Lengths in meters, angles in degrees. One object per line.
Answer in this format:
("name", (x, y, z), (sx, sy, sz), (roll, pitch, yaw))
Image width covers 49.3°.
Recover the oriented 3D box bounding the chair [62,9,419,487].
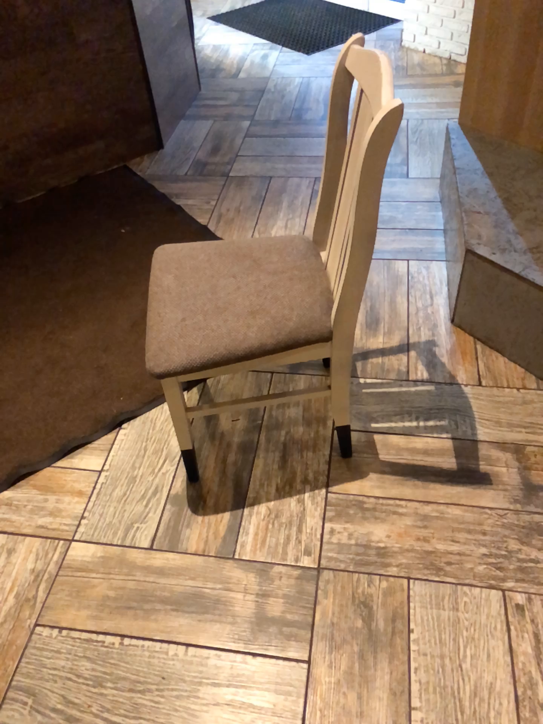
("chair", (-0.043, -0.203, 1.350), (0.519, 0.916, 0.481), (-5, 45, -2))
